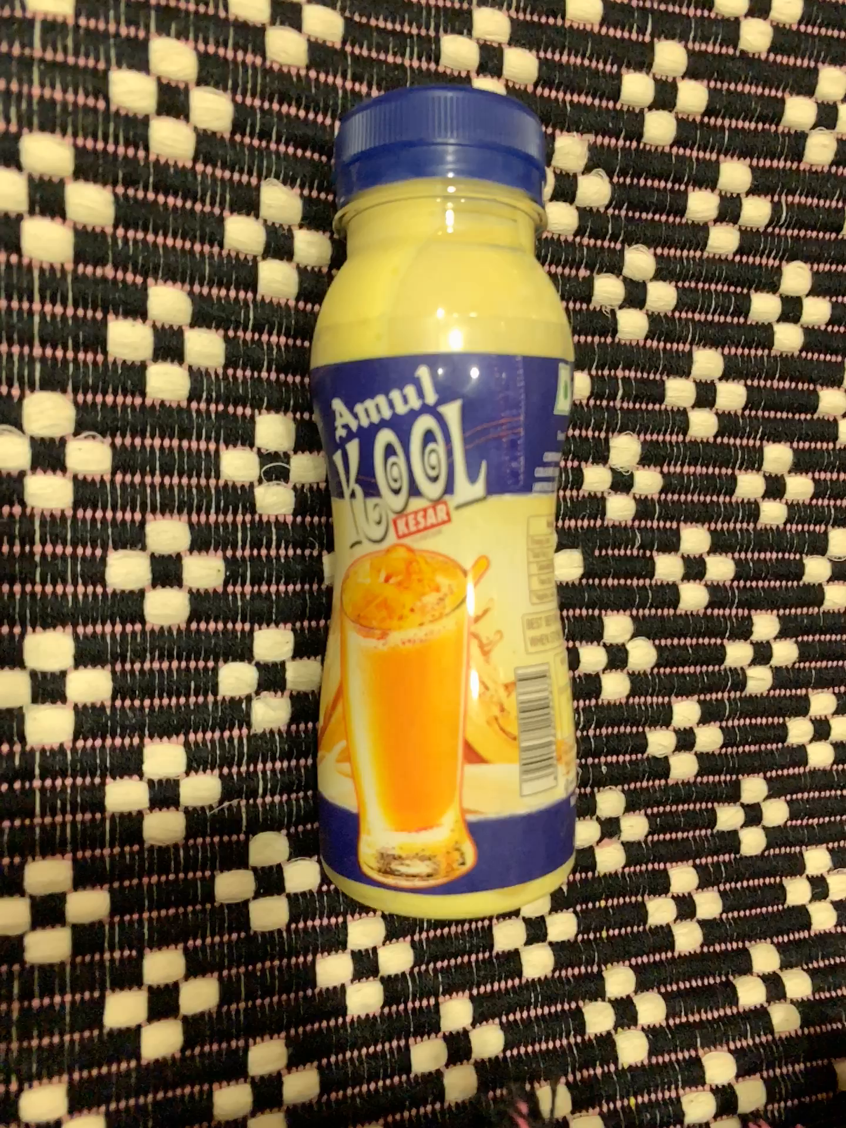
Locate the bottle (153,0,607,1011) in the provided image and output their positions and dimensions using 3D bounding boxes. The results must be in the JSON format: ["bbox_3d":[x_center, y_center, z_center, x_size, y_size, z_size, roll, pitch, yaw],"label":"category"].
[{"bbox_3d":[-0.004,-0.018,0.161,0.060,0.060,0.160,-3,93,-64],"label":"bottle"}]
